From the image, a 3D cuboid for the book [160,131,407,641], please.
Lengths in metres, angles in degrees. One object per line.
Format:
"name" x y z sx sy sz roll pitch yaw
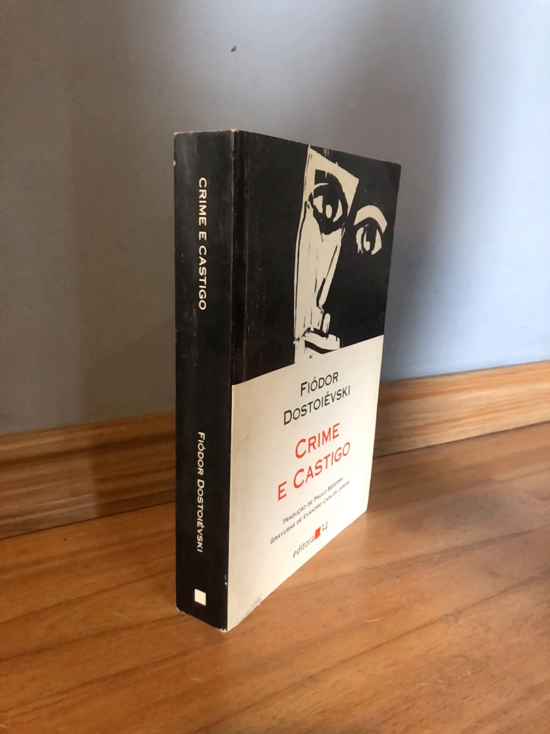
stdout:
"book" 0.012 -0.001 0.340 0.045 0.223 0.171 10 15 31
